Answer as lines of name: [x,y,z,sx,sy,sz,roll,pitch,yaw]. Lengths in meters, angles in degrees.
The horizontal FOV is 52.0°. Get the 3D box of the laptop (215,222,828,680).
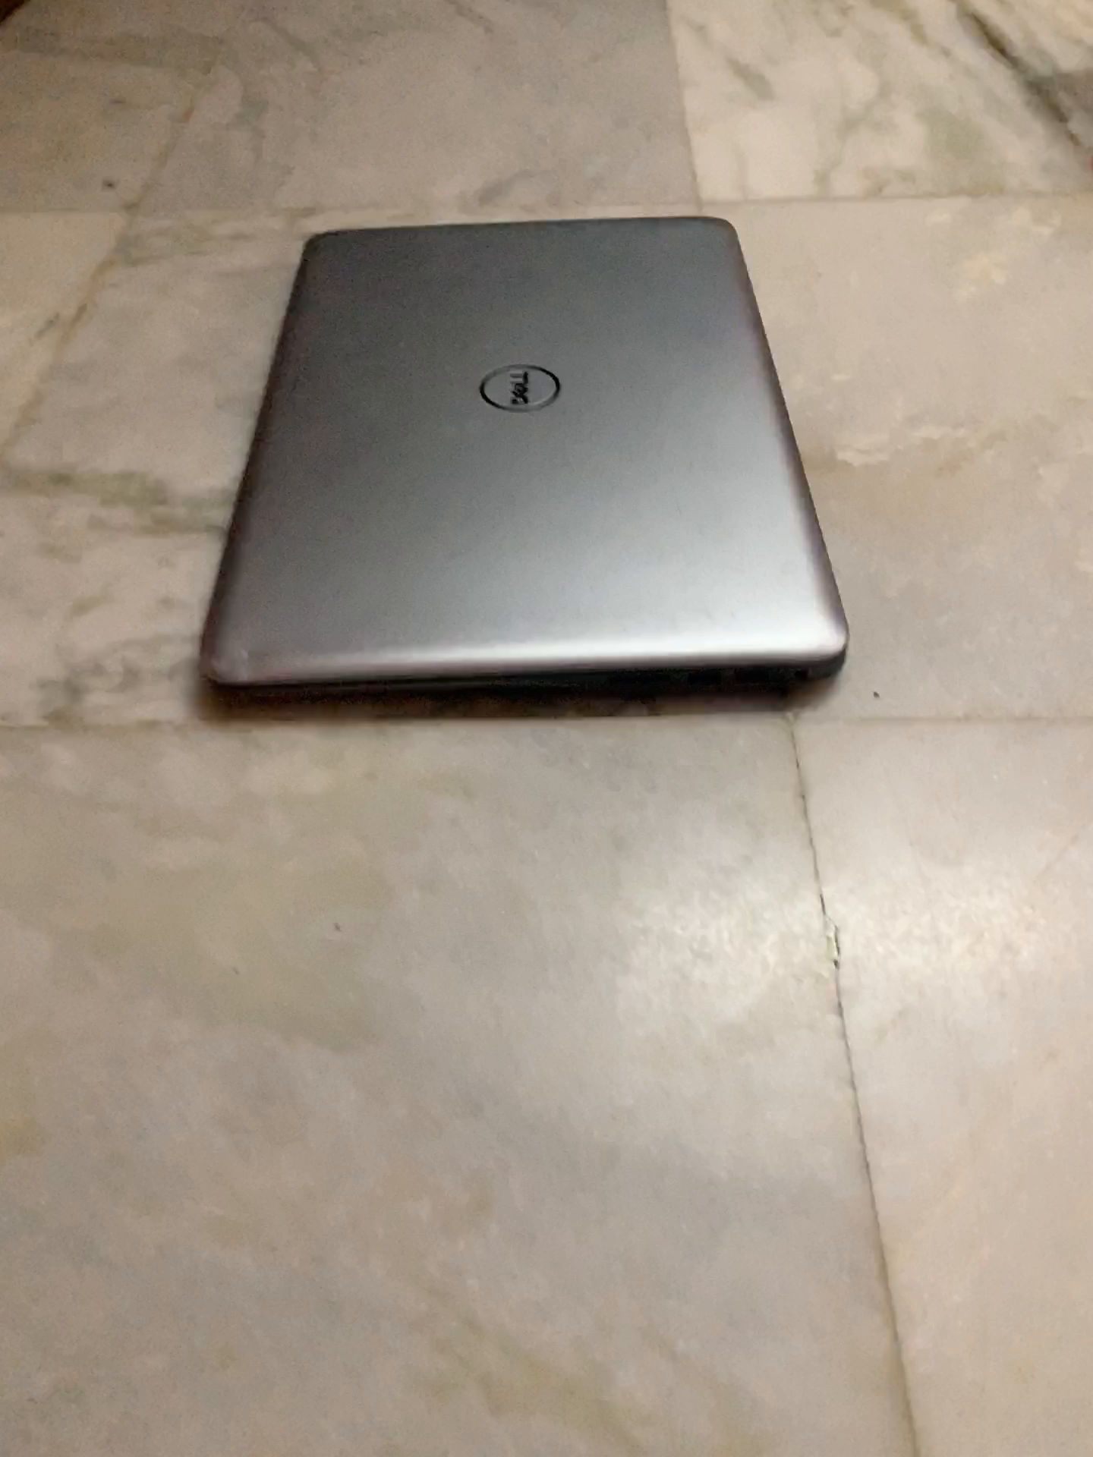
laptop: [-0.013,-0.157,0.541,0.234,0.001,0.353,-2,50,0]
